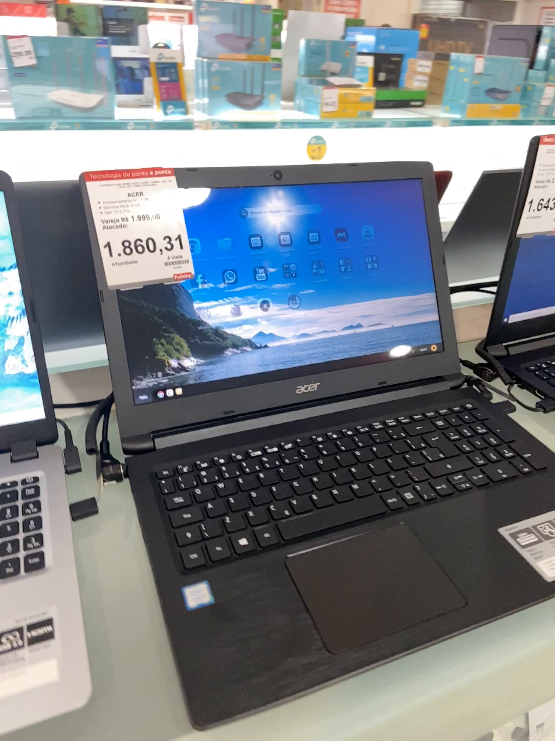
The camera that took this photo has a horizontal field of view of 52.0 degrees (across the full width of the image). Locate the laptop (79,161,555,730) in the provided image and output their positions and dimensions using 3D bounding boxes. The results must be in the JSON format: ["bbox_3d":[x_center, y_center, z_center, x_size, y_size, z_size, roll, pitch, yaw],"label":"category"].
[{"bbox_3d":[0.064,-0.019,0.478,0.379,0.215,0.381,-10,33,-20],"label":"laptop"}]
